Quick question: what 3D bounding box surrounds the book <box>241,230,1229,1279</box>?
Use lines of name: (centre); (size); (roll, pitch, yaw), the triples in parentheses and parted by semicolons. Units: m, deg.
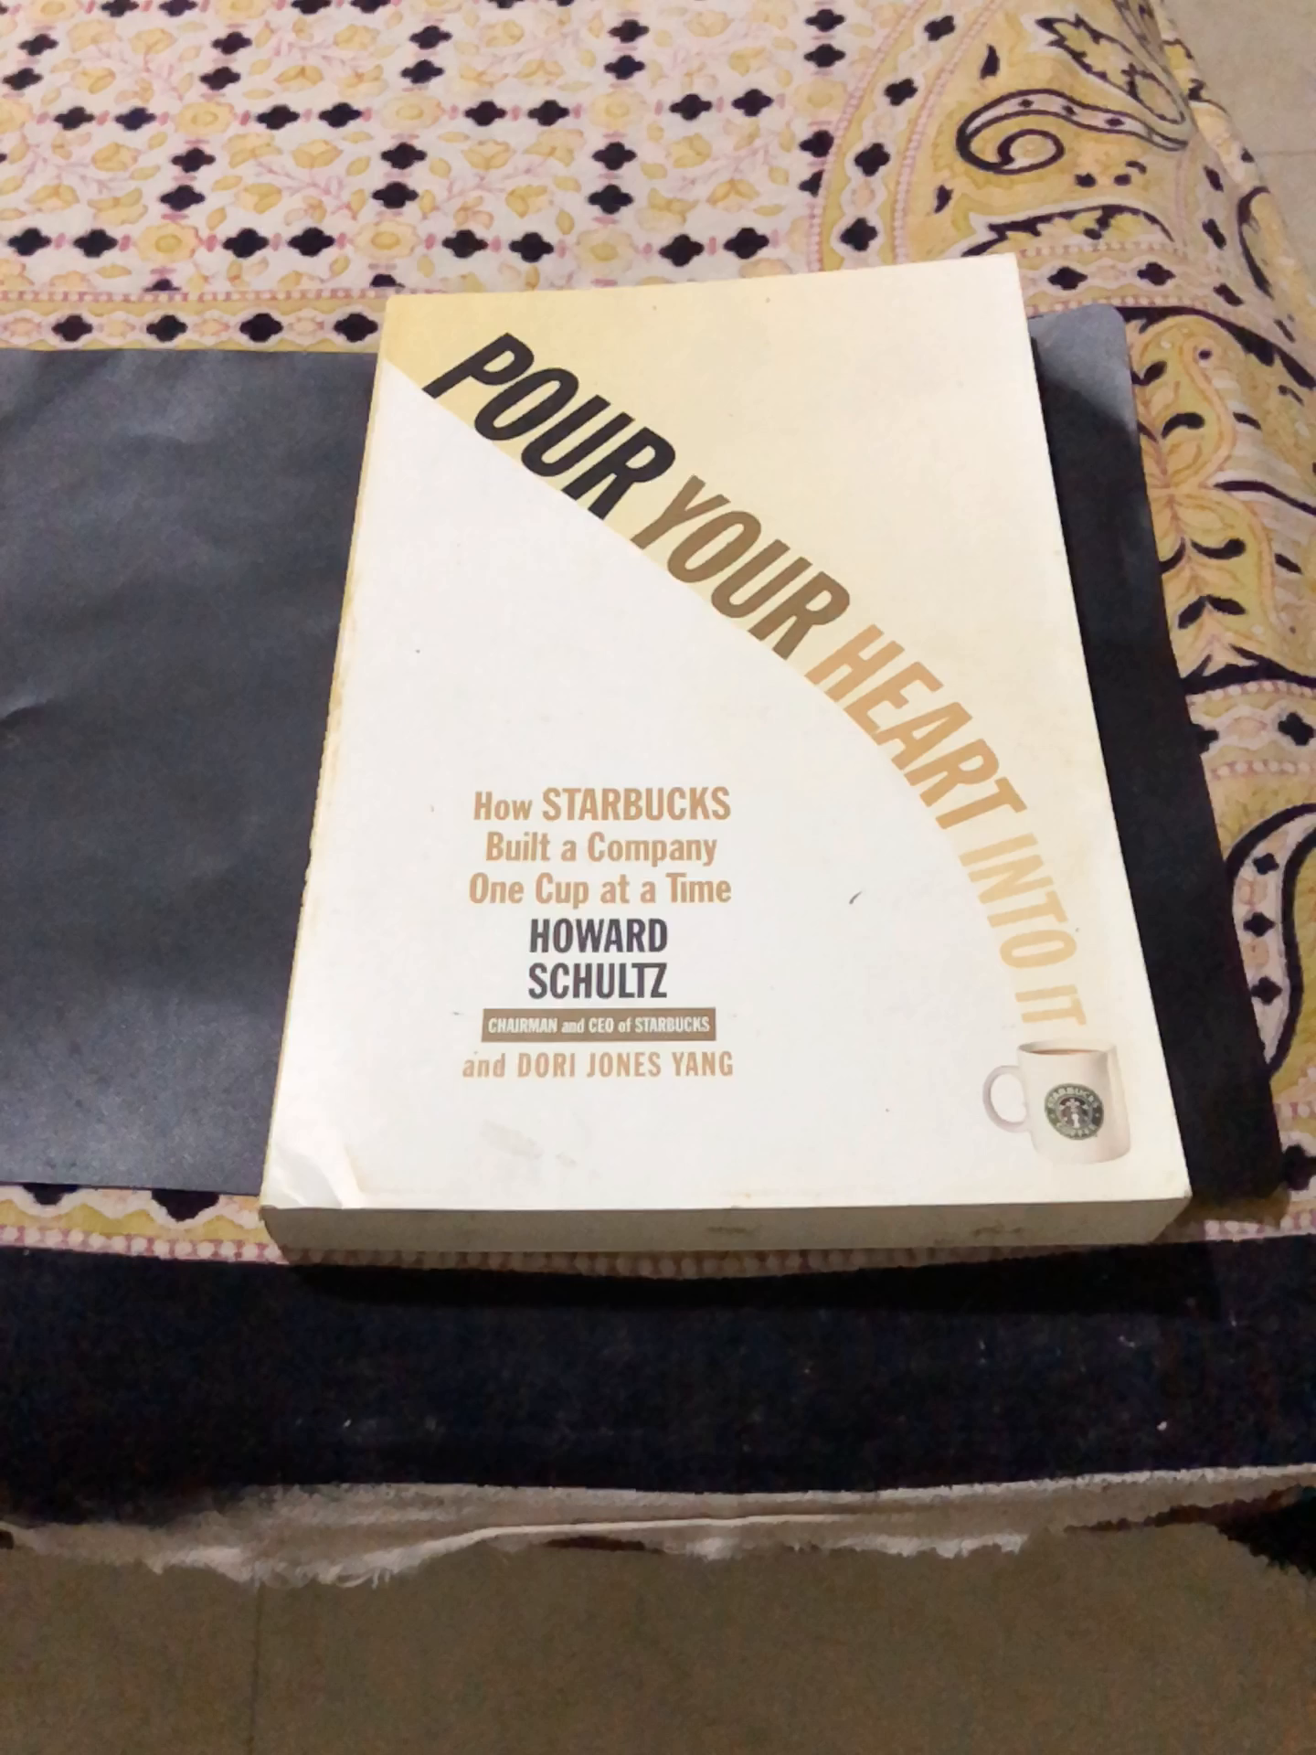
book: (0.012, -0.040, 0.318); (0.160, 0.050, 0.240); (0, 60, 1)
